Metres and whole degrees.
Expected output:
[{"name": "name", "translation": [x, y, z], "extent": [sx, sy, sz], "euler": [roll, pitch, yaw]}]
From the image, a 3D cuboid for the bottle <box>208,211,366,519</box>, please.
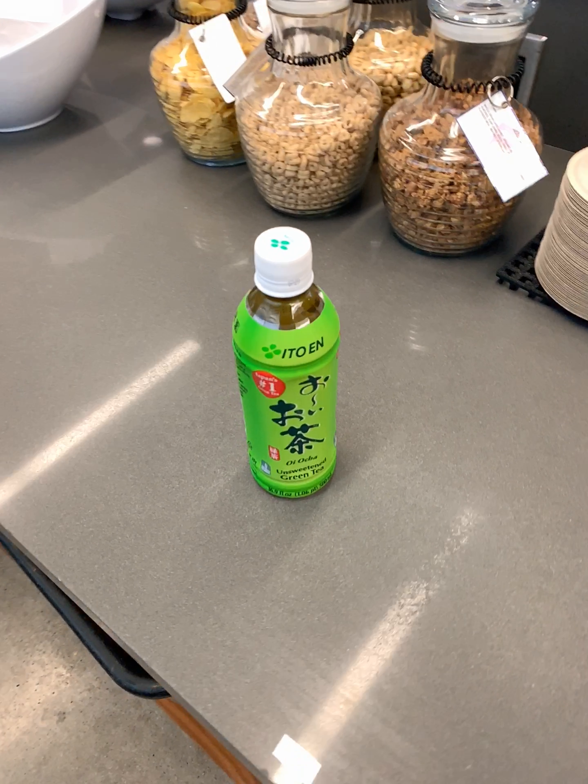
[{"name": "bottle", "translation": [-0.004, -0.005, 0.389], "extent": [0.070, 0.199, 0.070], "euler": [-1, 49, 1]}]
